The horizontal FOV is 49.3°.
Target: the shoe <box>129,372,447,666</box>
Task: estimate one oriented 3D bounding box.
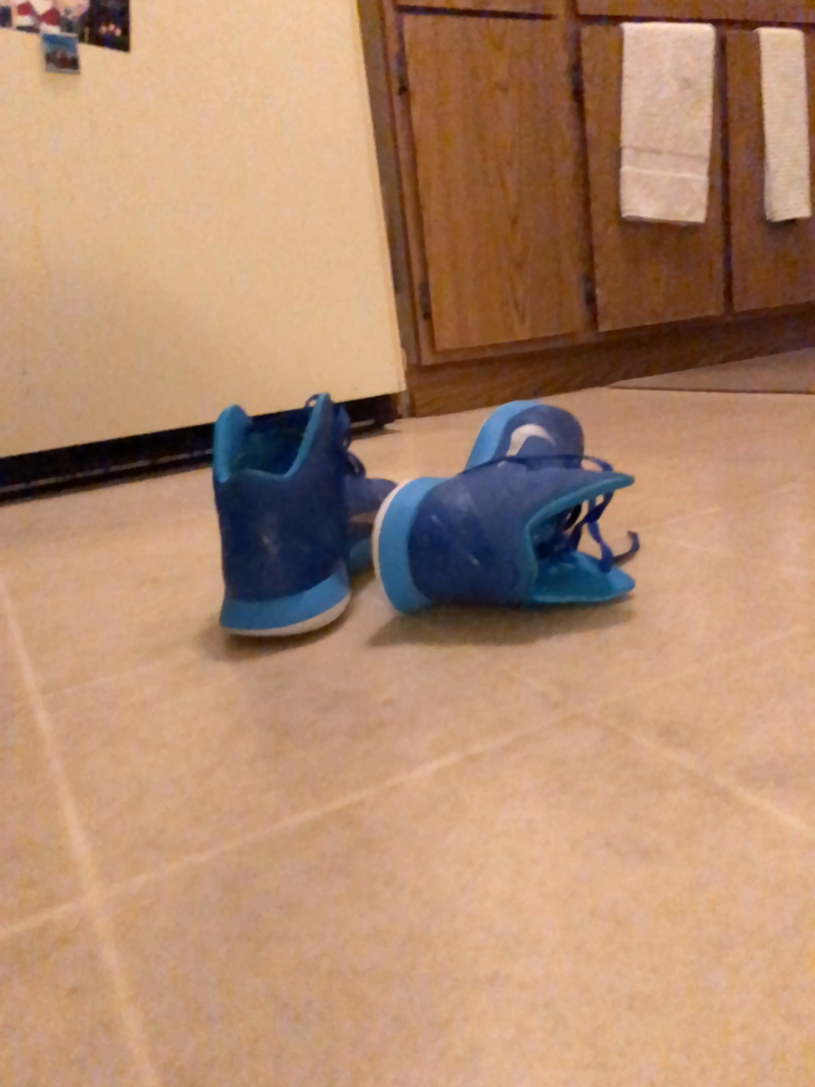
[{"bbox_3d":[-0.064,-0.038,0.676,0.120,0.144,0.311,-4,14,14],"label":"shoe"}]

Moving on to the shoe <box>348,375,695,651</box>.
[{"bbox_3d":[0.099,-0.043,0.633,0.159,0.120,0.282,5,18,25],"label":"shoe"}]
